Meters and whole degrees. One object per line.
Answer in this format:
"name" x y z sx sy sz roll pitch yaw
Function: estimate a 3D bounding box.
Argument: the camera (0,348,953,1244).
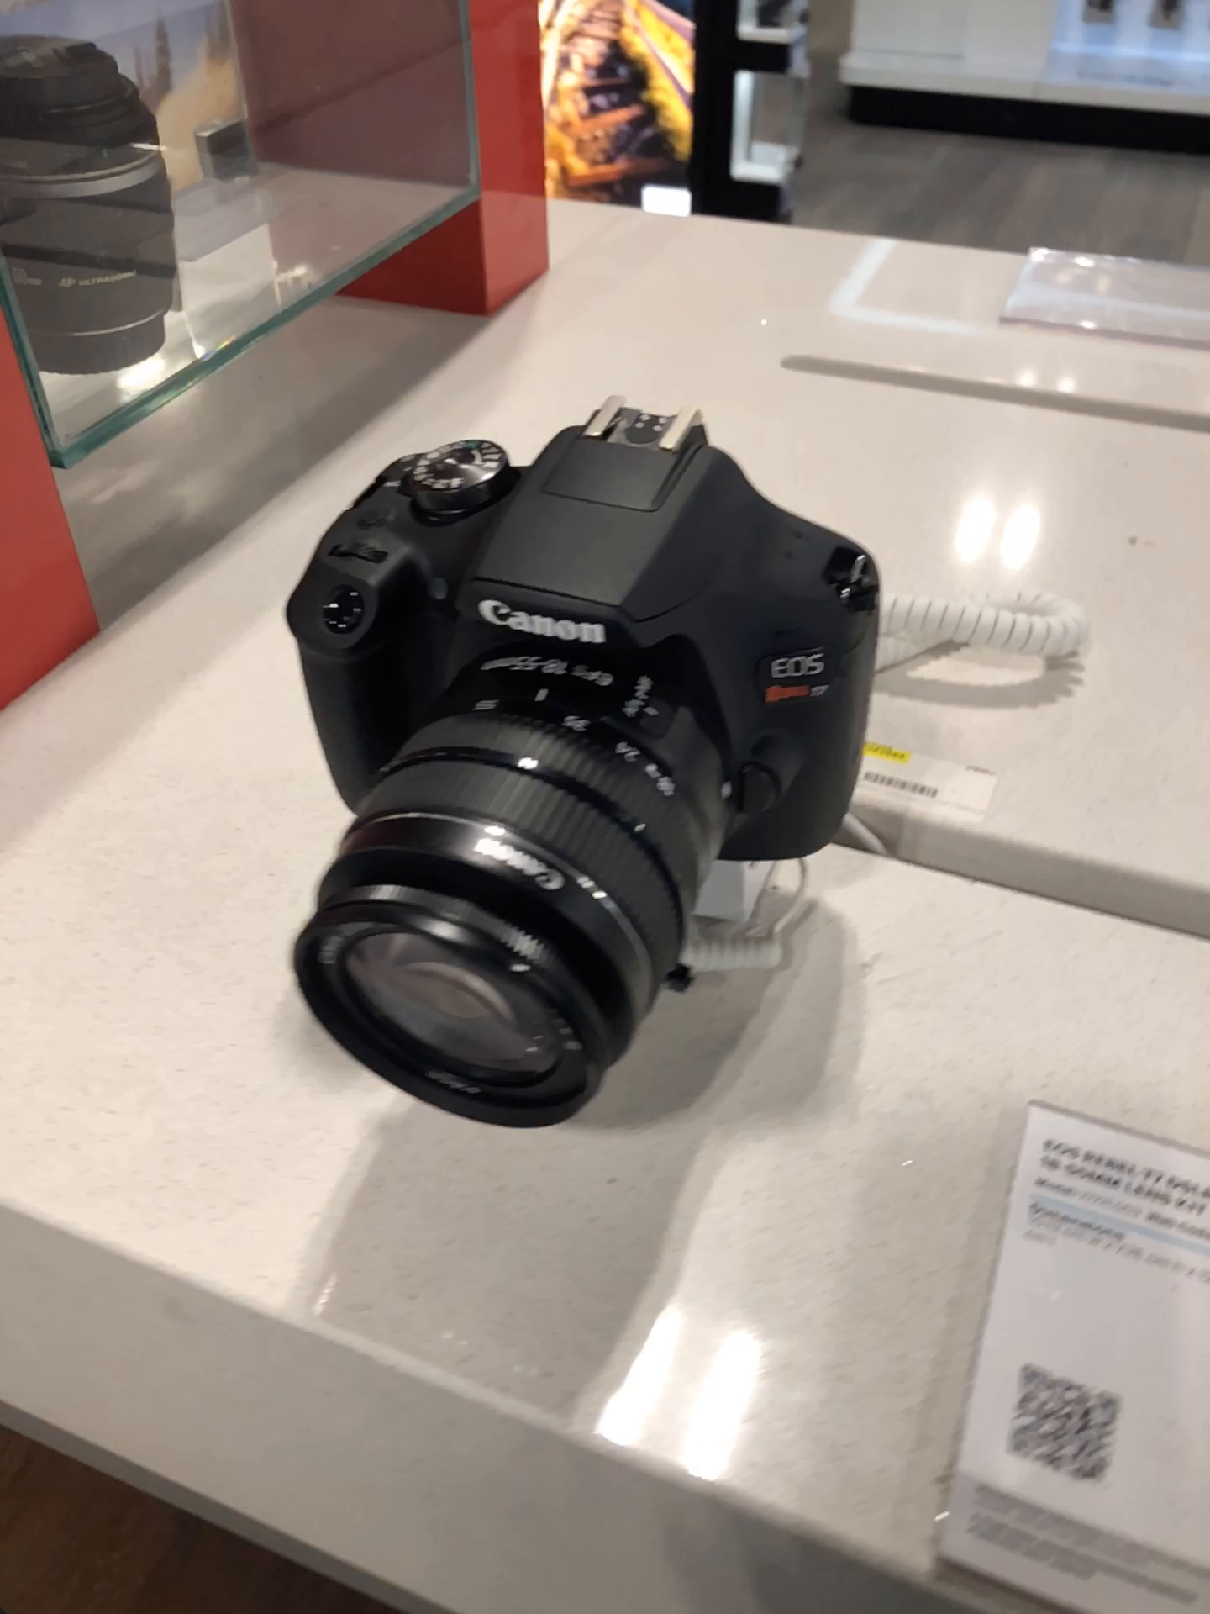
"camera" -0.015 -0.017 0.283 0.140 0.089 0.151 12 42 15
